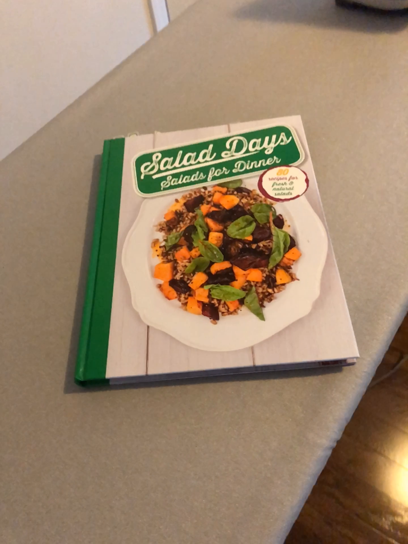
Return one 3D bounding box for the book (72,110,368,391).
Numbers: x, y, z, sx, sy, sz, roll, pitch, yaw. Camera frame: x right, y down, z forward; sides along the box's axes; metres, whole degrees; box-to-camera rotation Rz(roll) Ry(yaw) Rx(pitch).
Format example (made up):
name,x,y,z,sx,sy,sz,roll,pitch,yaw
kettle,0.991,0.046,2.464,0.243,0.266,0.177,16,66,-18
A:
name,x,y,z,sx,sy,sz,roll,pitch,yaw
book,0.004,-0.038,0.411,0.213,0.020,0.276,-6,56,4
